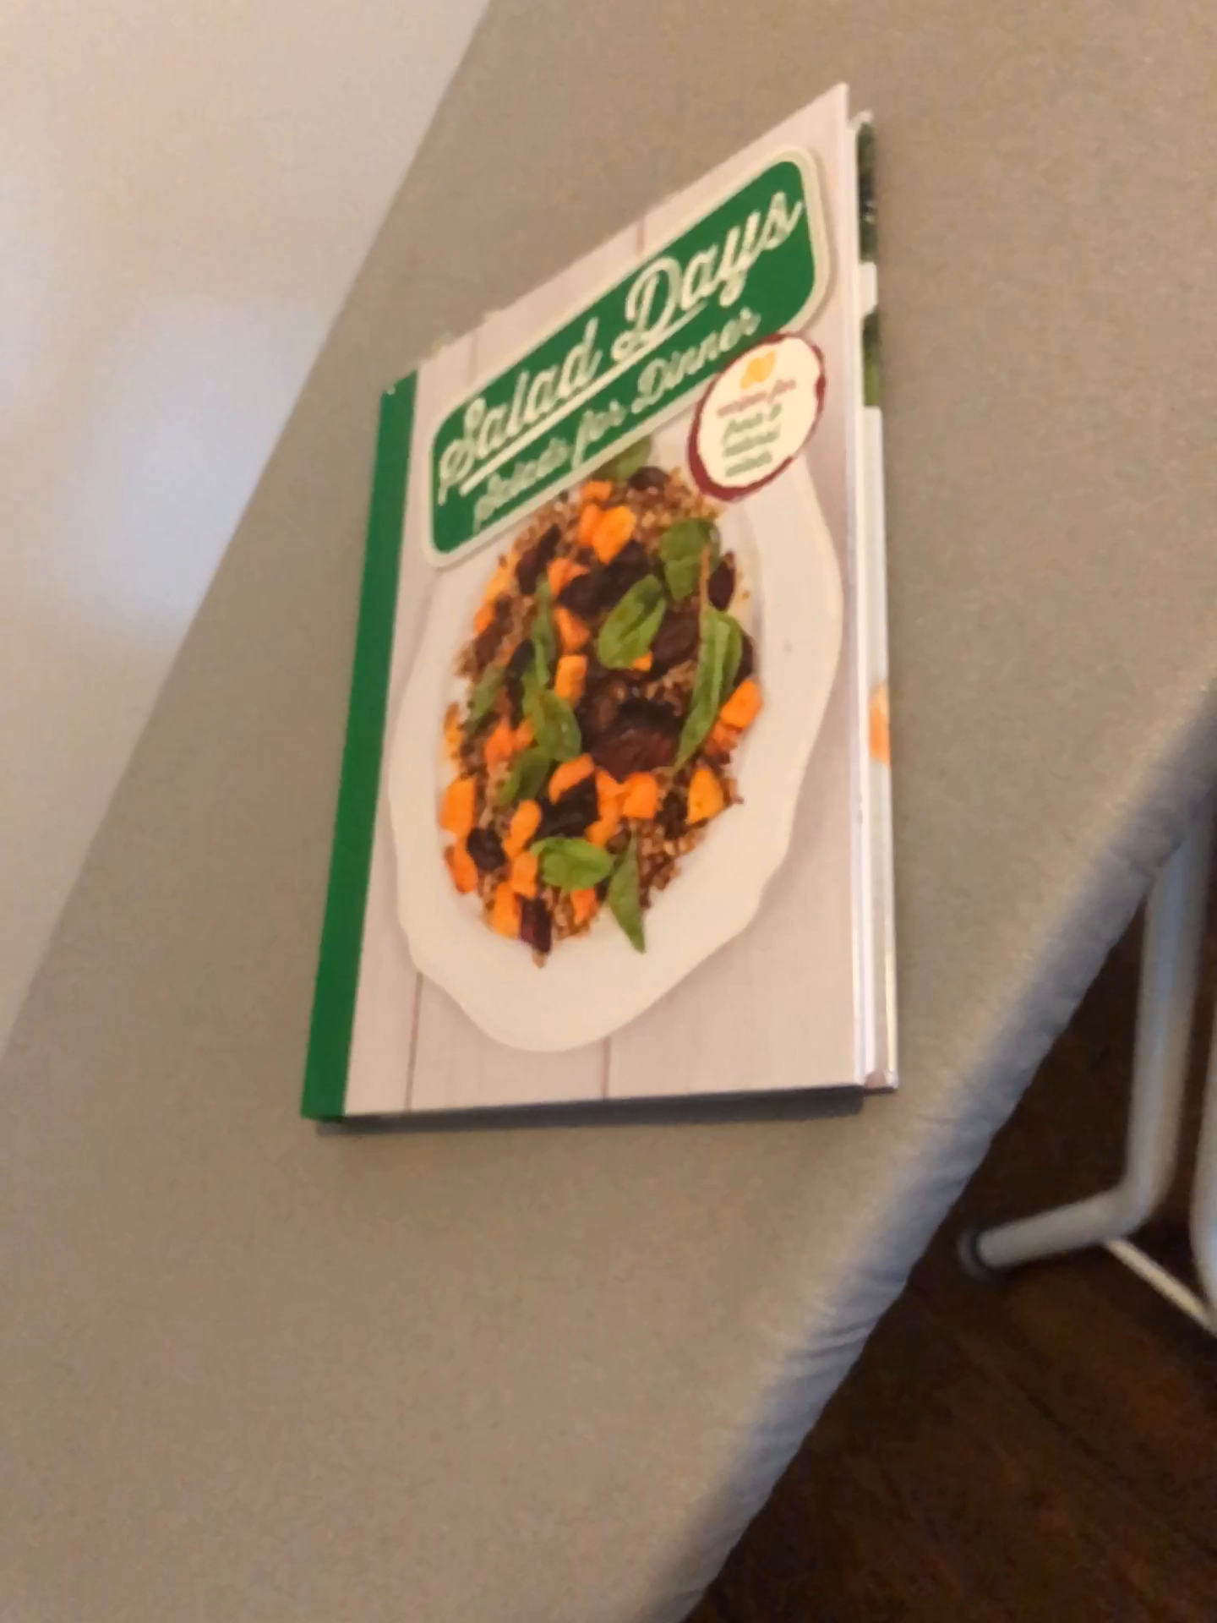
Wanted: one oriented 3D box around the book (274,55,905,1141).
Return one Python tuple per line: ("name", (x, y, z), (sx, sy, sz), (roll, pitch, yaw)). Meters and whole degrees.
("book", (-0.013, -0.048, 0.400), (0.215, 0.020, 0.275), (-15, 65, 43))
